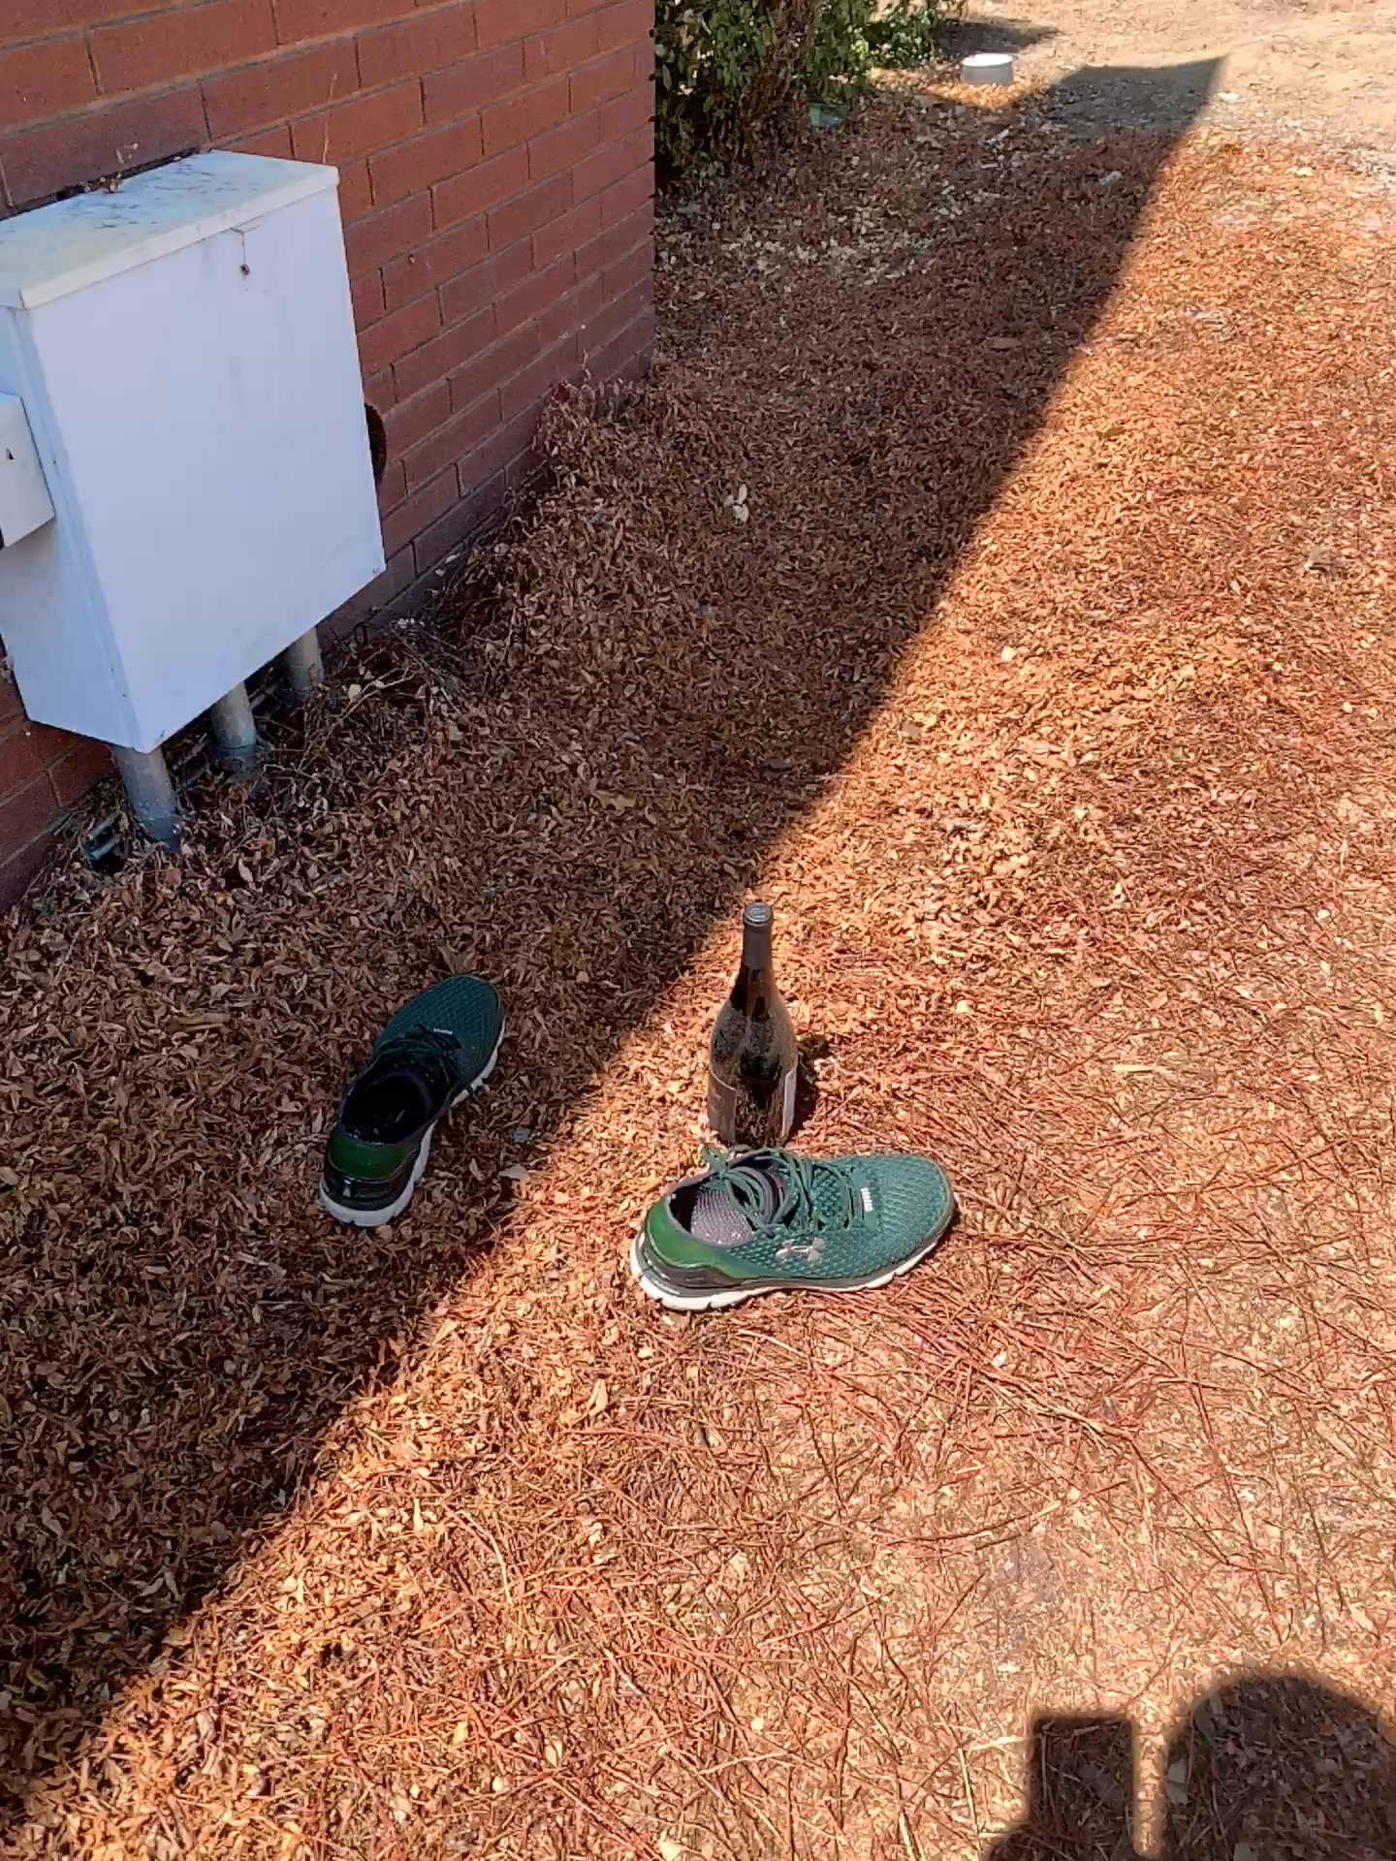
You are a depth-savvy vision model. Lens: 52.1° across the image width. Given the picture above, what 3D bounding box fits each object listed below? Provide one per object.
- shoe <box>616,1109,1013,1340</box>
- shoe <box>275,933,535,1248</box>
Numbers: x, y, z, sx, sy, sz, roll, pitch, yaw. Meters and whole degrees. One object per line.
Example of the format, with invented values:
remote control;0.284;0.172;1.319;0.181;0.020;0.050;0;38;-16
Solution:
shoe;0.097;0.256;1.263;0.320;0.080;0.131;-7;41;-10
shoe;-0.273;0.143;1.389;0.120;0.070;0.332;10;41;10
